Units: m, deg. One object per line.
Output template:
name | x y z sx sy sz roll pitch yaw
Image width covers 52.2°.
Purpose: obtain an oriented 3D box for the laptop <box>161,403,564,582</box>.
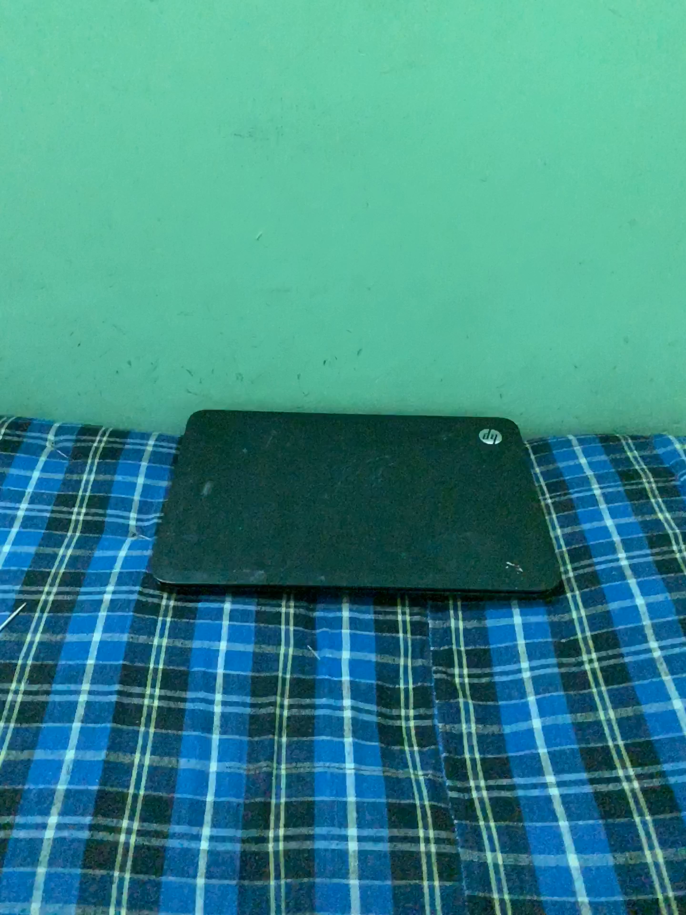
laptop | 0.018 0.026 0.684 0.346 0.018 0.218 1 43 -2
